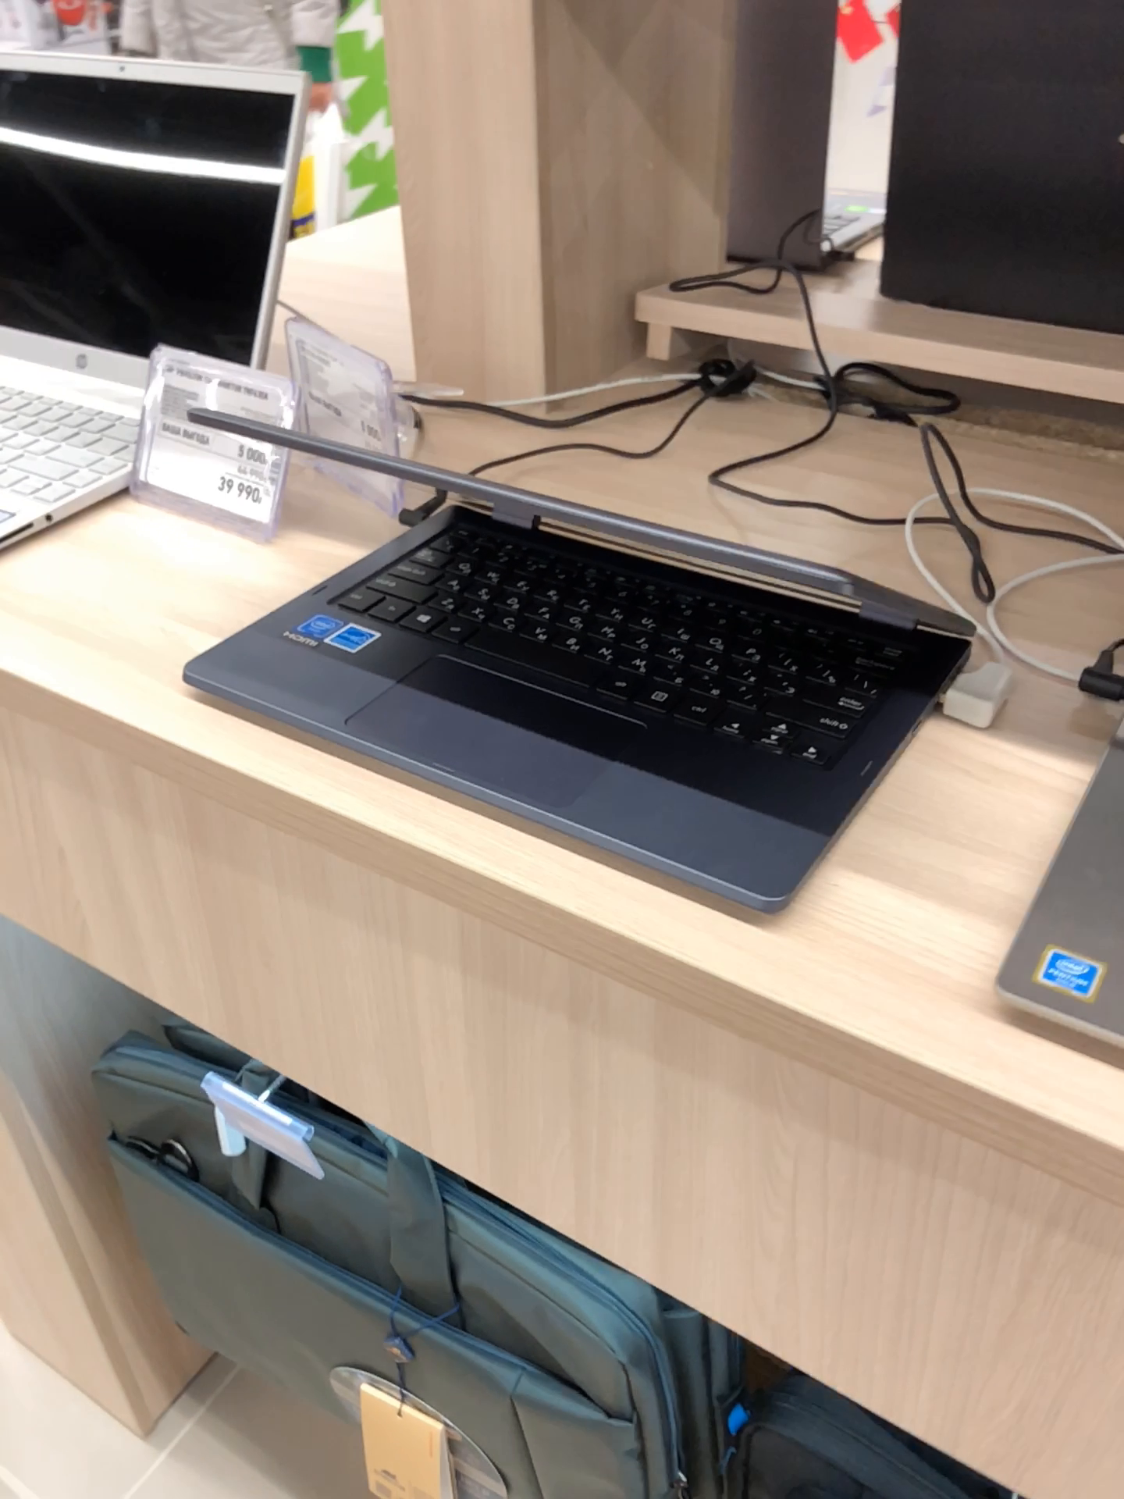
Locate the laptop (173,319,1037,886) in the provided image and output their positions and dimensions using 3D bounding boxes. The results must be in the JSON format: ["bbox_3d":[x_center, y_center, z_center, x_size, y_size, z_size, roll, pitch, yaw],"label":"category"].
[{"bbox_3d":[0.017,-0.082,0.502,0.272,0.097,0.185,20,41,28],"label":"laptop"}]
